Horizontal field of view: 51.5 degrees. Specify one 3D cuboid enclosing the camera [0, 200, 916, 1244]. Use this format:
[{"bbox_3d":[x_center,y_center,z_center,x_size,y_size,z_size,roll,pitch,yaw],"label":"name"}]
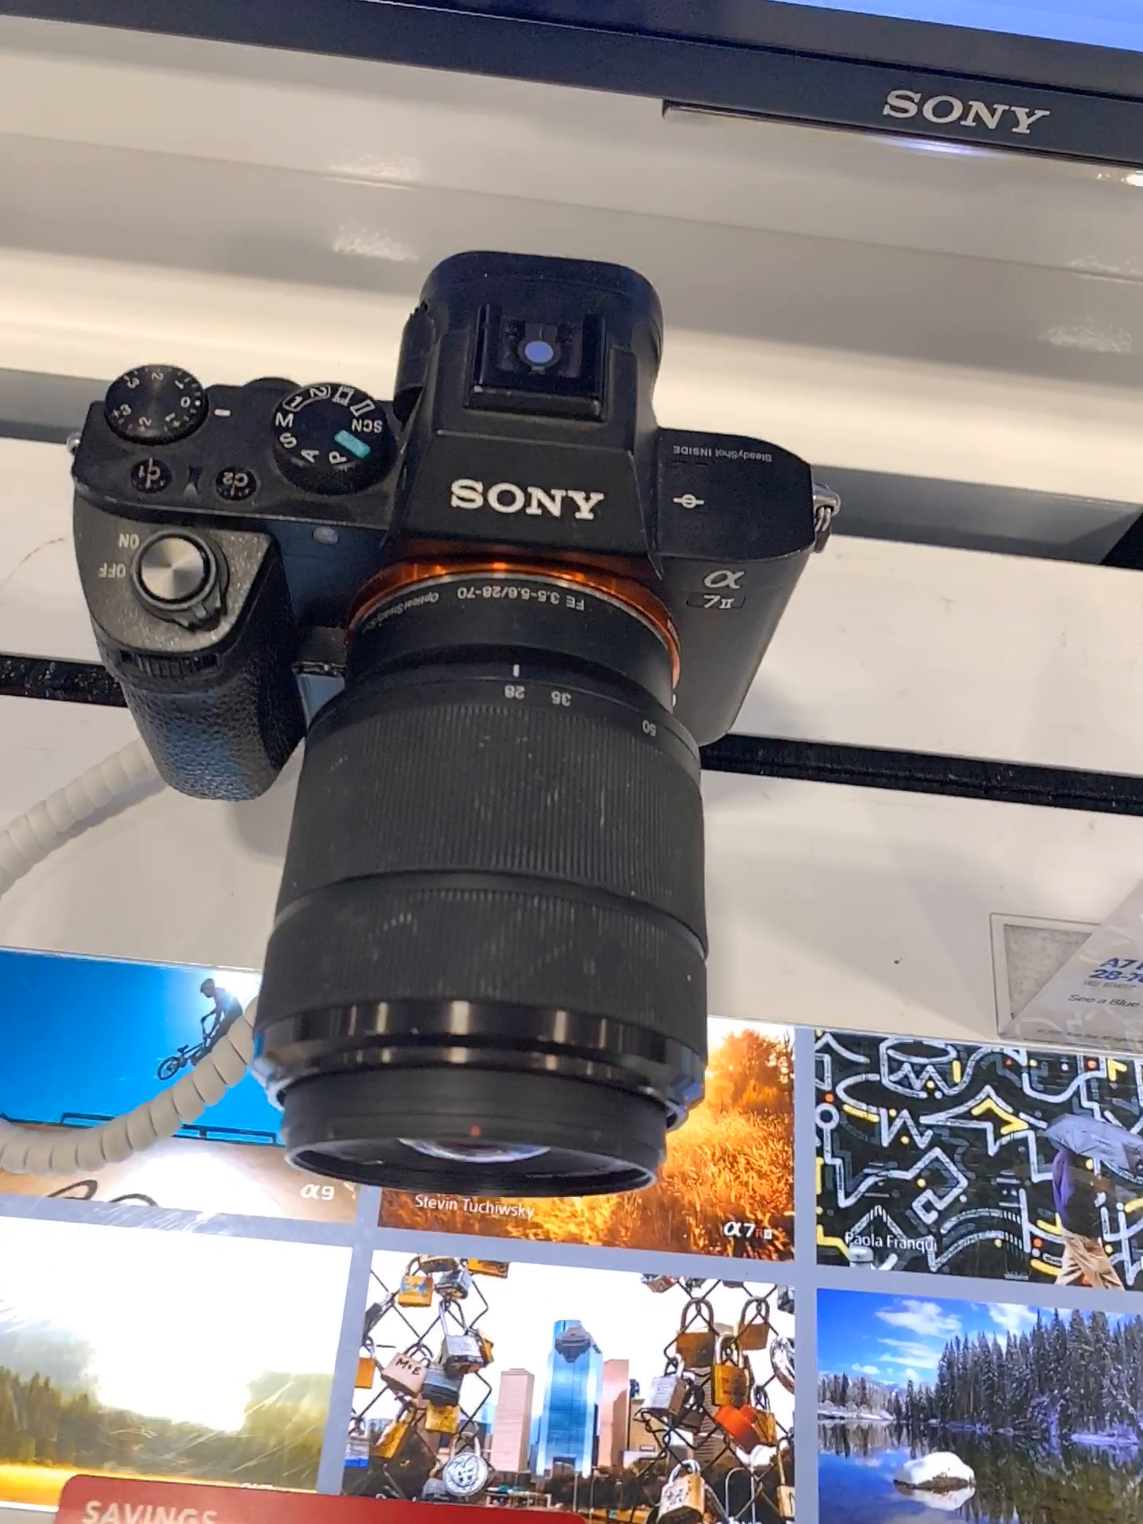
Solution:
[{"bbox_3d":[-0.024,-0.002,0.202,0.130,0.091,0.142,5,64,-1],"label":"camera"}]
